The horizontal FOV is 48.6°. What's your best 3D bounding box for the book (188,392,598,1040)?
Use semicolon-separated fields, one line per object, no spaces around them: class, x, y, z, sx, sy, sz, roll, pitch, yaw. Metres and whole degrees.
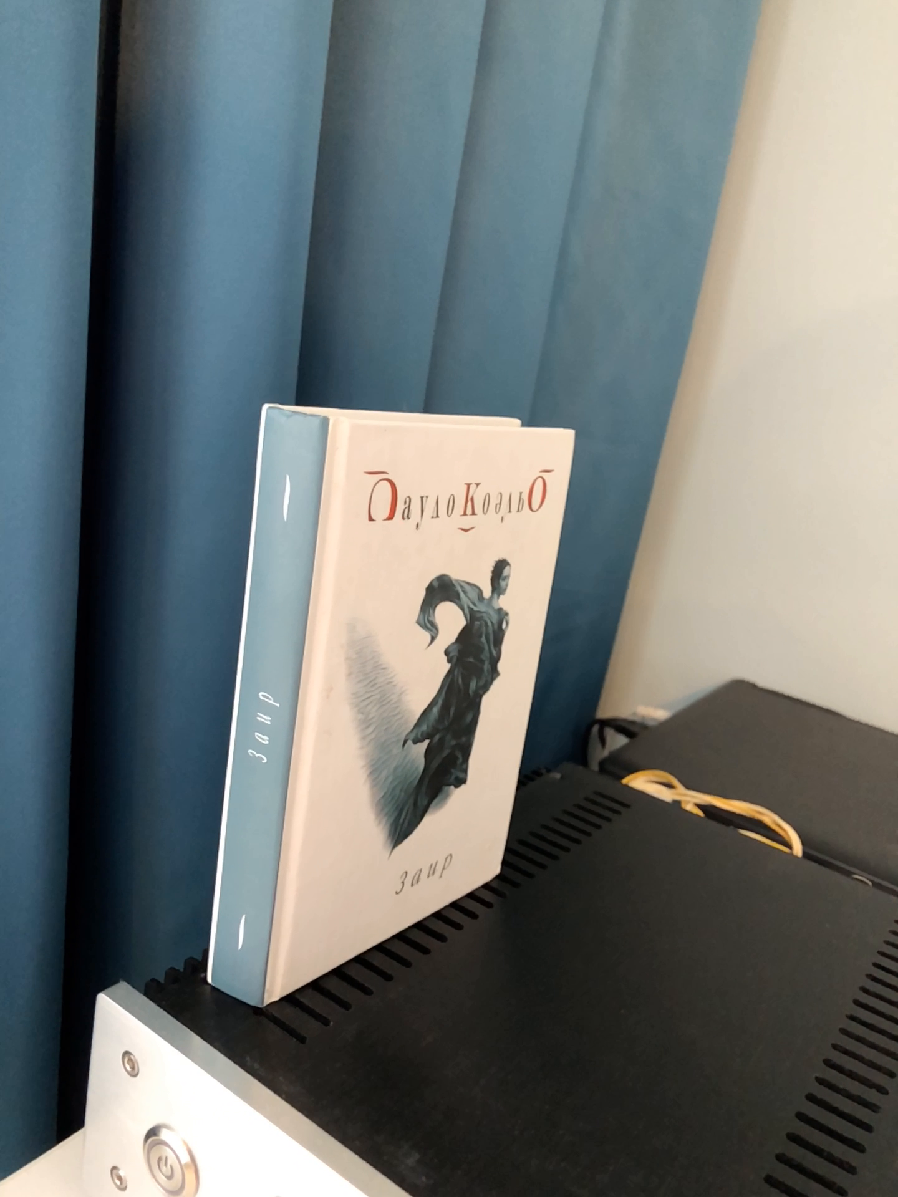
book;-0.014;0.029;0.322;0.030;0.179;0.130;19;18;36
